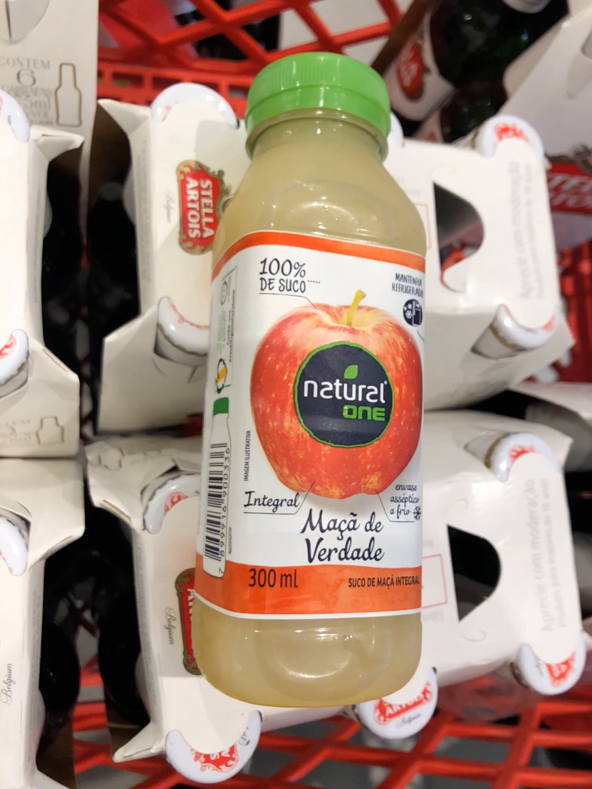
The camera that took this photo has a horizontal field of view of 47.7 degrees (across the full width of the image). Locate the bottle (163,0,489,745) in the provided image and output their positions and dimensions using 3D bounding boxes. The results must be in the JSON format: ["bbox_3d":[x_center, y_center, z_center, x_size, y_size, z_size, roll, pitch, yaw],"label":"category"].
[{"bbox_3d":[0.002,-0.021,0.169,0.060,0.060,0.180,2,81,-16],"label":"bottle"}]
